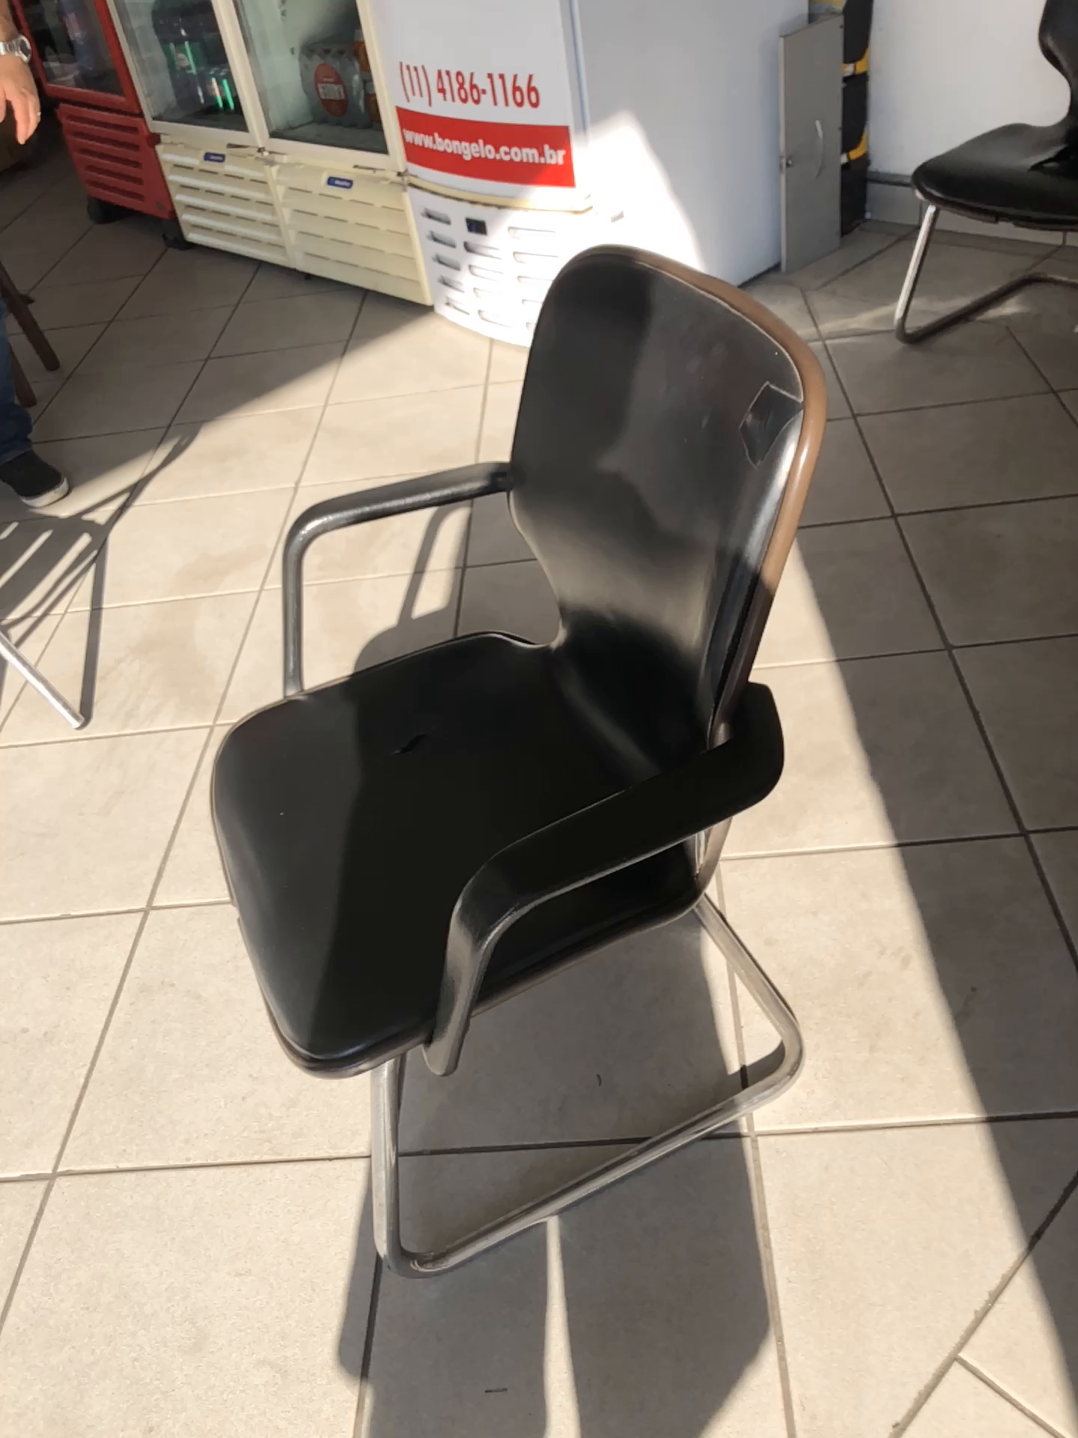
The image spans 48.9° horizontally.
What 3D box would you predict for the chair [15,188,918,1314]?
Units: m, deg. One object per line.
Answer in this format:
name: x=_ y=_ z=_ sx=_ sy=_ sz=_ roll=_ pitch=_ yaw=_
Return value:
chair: x=-0.058 y=0.022 z=1.212 sx=0.580 sy=0.824 sz=0.584 roll=-21 pitch=40 yaw=-12
